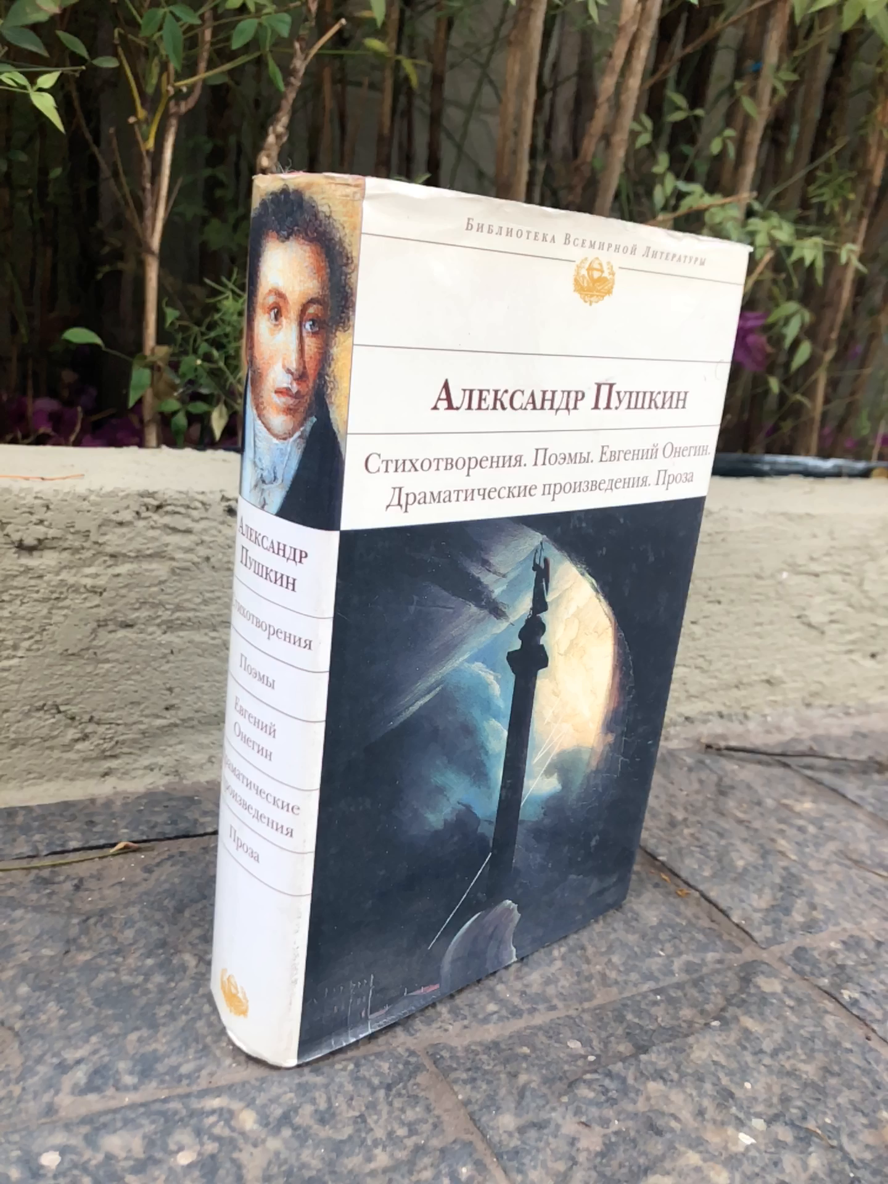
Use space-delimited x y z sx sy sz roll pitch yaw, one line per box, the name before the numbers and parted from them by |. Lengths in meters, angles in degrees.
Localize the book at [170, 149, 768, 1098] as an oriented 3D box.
book | 0.010 0.004 0.272 0.150 0.204 0.050 -7 19 -43
